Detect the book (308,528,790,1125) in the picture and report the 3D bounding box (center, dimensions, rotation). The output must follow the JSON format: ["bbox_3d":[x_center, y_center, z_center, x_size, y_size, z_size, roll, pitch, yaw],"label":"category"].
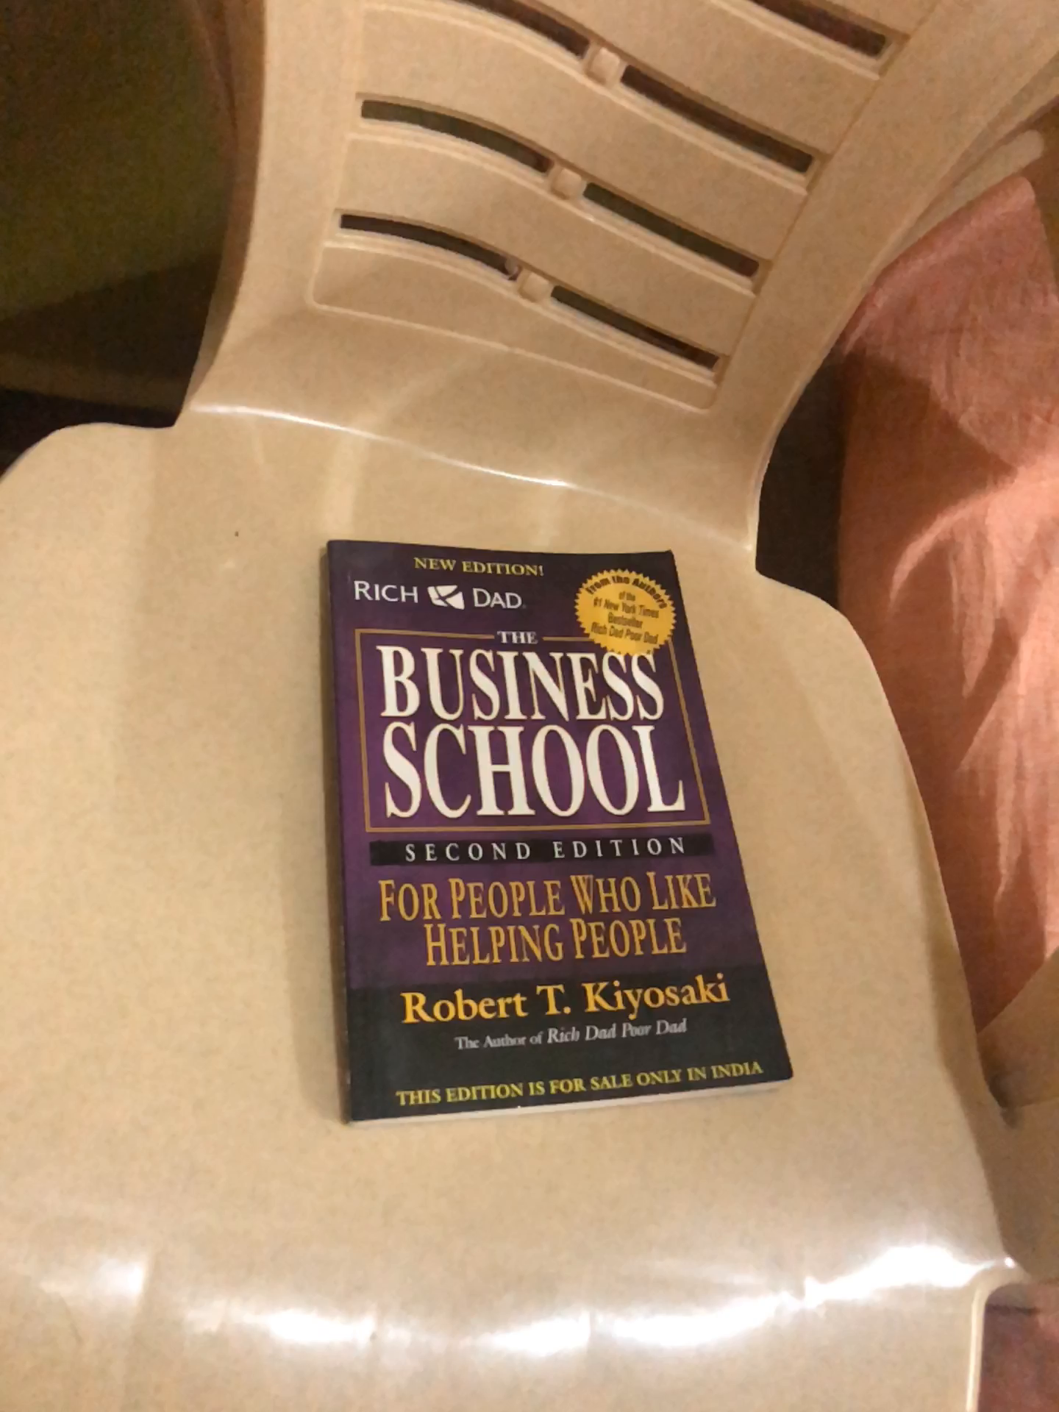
[{"bbox_3d":[0.002,0.038,0.467,0.170,0.020,0.230,0,67,-17],"label":"book"}]
